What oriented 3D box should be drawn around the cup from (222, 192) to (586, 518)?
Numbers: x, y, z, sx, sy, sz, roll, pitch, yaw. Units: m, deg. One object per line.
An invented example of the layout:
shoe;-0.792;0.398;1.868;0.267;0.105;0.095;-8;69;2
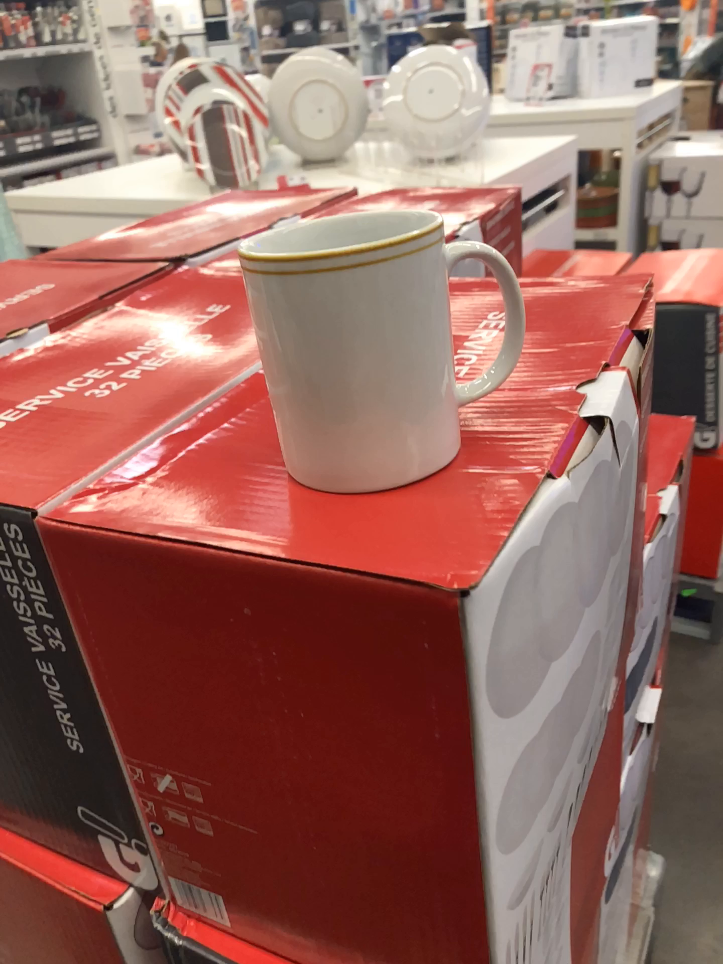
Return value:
cup;0.013;-0.059;0.327;0.116;0.091;0.096;-11;27;-12
